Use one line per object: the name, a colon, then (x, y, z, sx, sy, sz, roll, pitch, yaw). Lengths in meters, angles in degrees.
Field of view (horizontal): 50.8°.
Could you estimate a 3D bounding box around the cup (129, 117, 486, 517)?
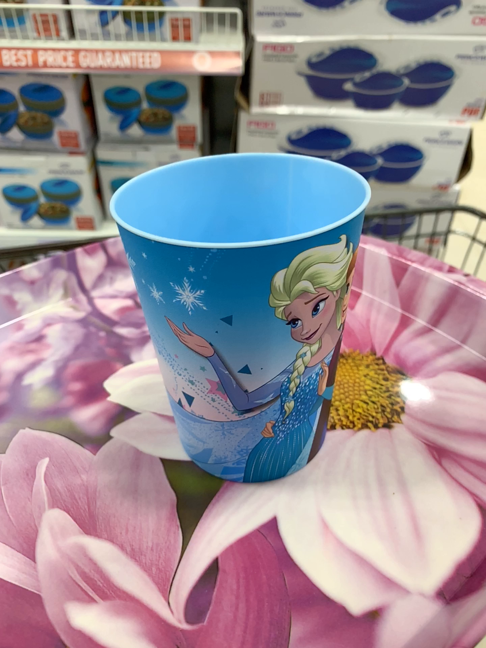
cup: (0.012, 0.000, 0.171, 0.080, 0.109, 0.060, -8, 40, -10)
